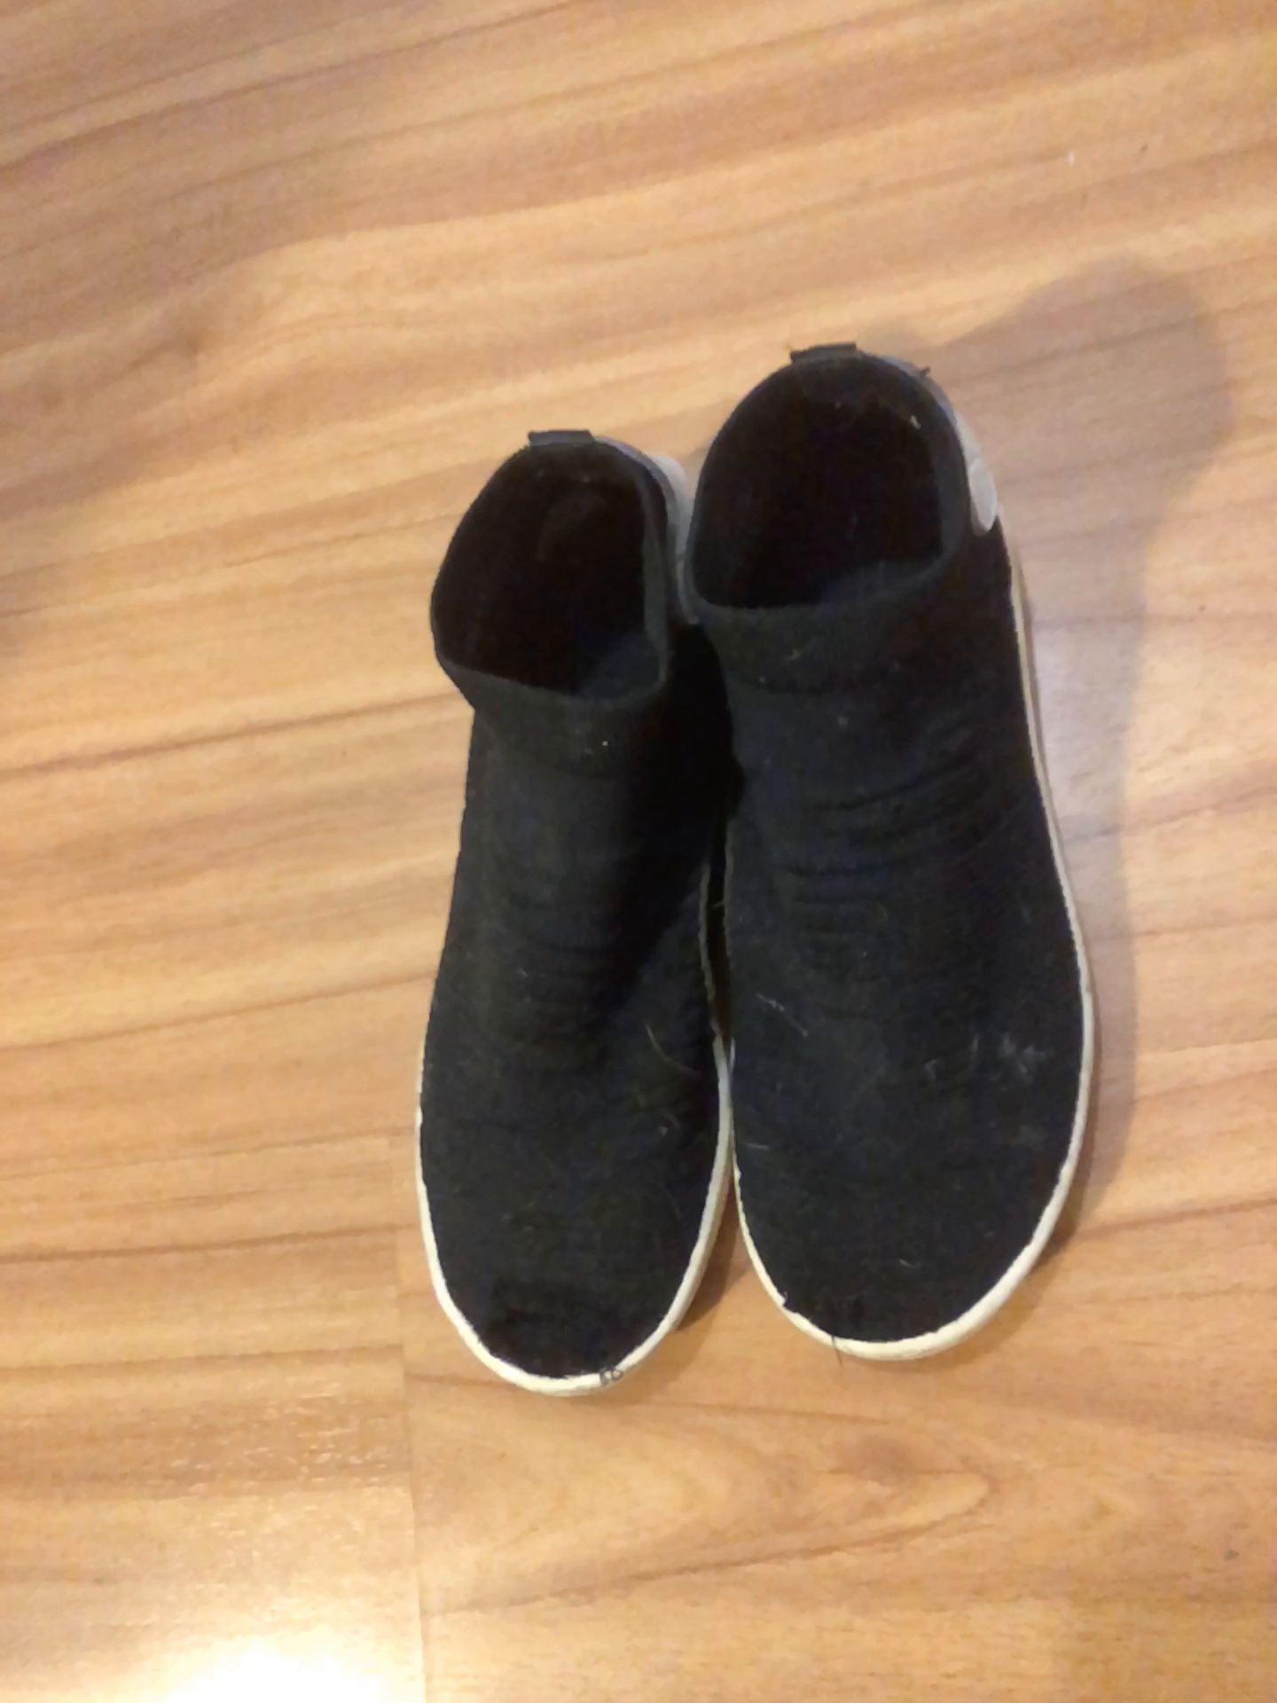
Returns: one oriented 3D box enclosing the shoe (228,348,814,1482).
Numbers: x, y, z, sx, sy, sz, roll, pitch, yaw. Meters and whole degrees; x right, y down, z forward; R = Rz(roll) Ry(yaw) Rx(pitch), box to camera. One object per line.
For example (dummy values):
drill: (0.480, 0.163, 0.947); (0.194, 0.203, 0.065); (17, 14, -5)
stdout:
shoe: (-0.022, 0.012, 0.385); (0.100, 0.100, 0.260); (4, 83, 17)

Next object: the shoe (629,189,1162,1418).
shoe: (0.063, -0.008, 0.355); (0.100, 0.100, 0.260); (-4, 80, 15)
